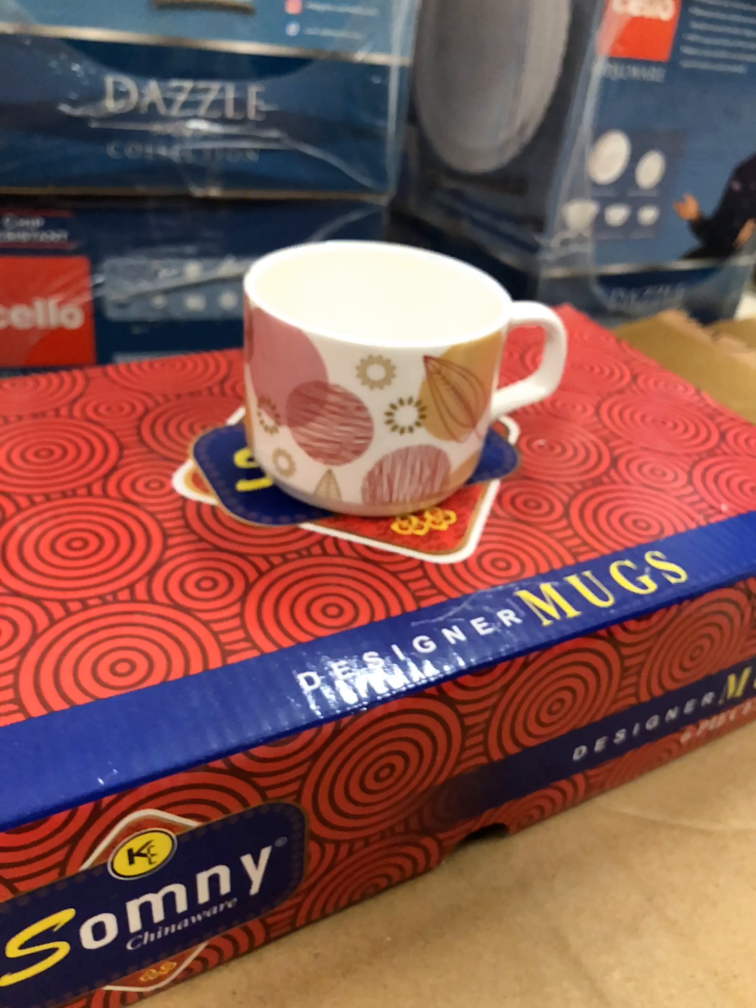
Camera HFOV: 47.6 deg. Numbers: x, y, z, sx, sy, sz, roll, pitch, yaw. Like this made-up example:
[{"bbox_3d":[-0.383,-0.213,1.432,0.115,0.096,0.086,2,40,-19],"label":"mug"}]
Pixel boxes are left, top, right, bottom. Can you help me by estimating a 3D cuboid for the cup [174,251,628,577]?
[{"bbox_3d":[0.001,-0.029,0.221,0.090,0.050,0.070,-8,35,-24],"label":"cup"}]
